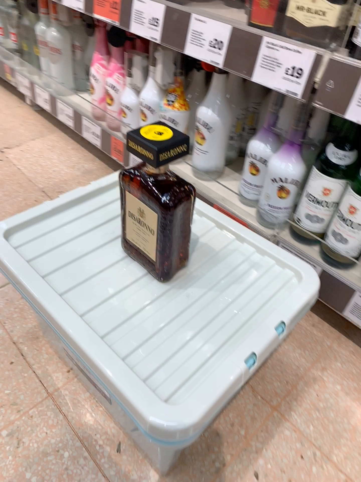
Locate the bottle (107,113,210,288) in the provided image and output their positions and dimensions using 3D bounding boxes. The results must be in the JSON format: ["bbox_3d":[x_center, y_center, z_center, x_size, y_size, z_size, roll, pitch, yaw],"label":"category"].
[{"bbox_3d":[-0.036,-0.052,0.522,0.070,0.208,0.111,-31,54,-34],"label":"bottle"}]
